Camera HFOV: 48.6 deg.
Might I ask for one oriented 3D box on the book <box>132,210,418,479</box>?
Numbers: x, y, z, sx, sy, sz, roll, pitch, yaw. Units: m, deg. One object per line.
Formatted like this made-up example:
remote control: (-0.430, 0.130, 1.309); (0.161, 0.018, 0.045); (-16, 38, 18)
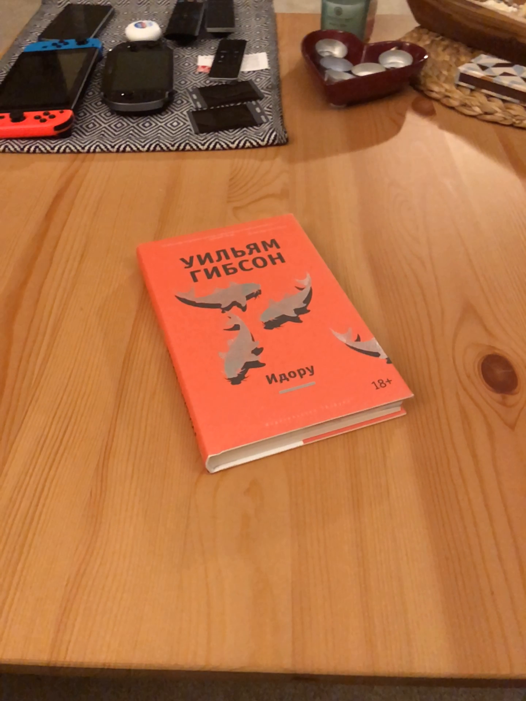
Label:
book: (-0.004, -0.021, 0.410); (0.134, 0.020, 0.208); (-14, 49, -14)
